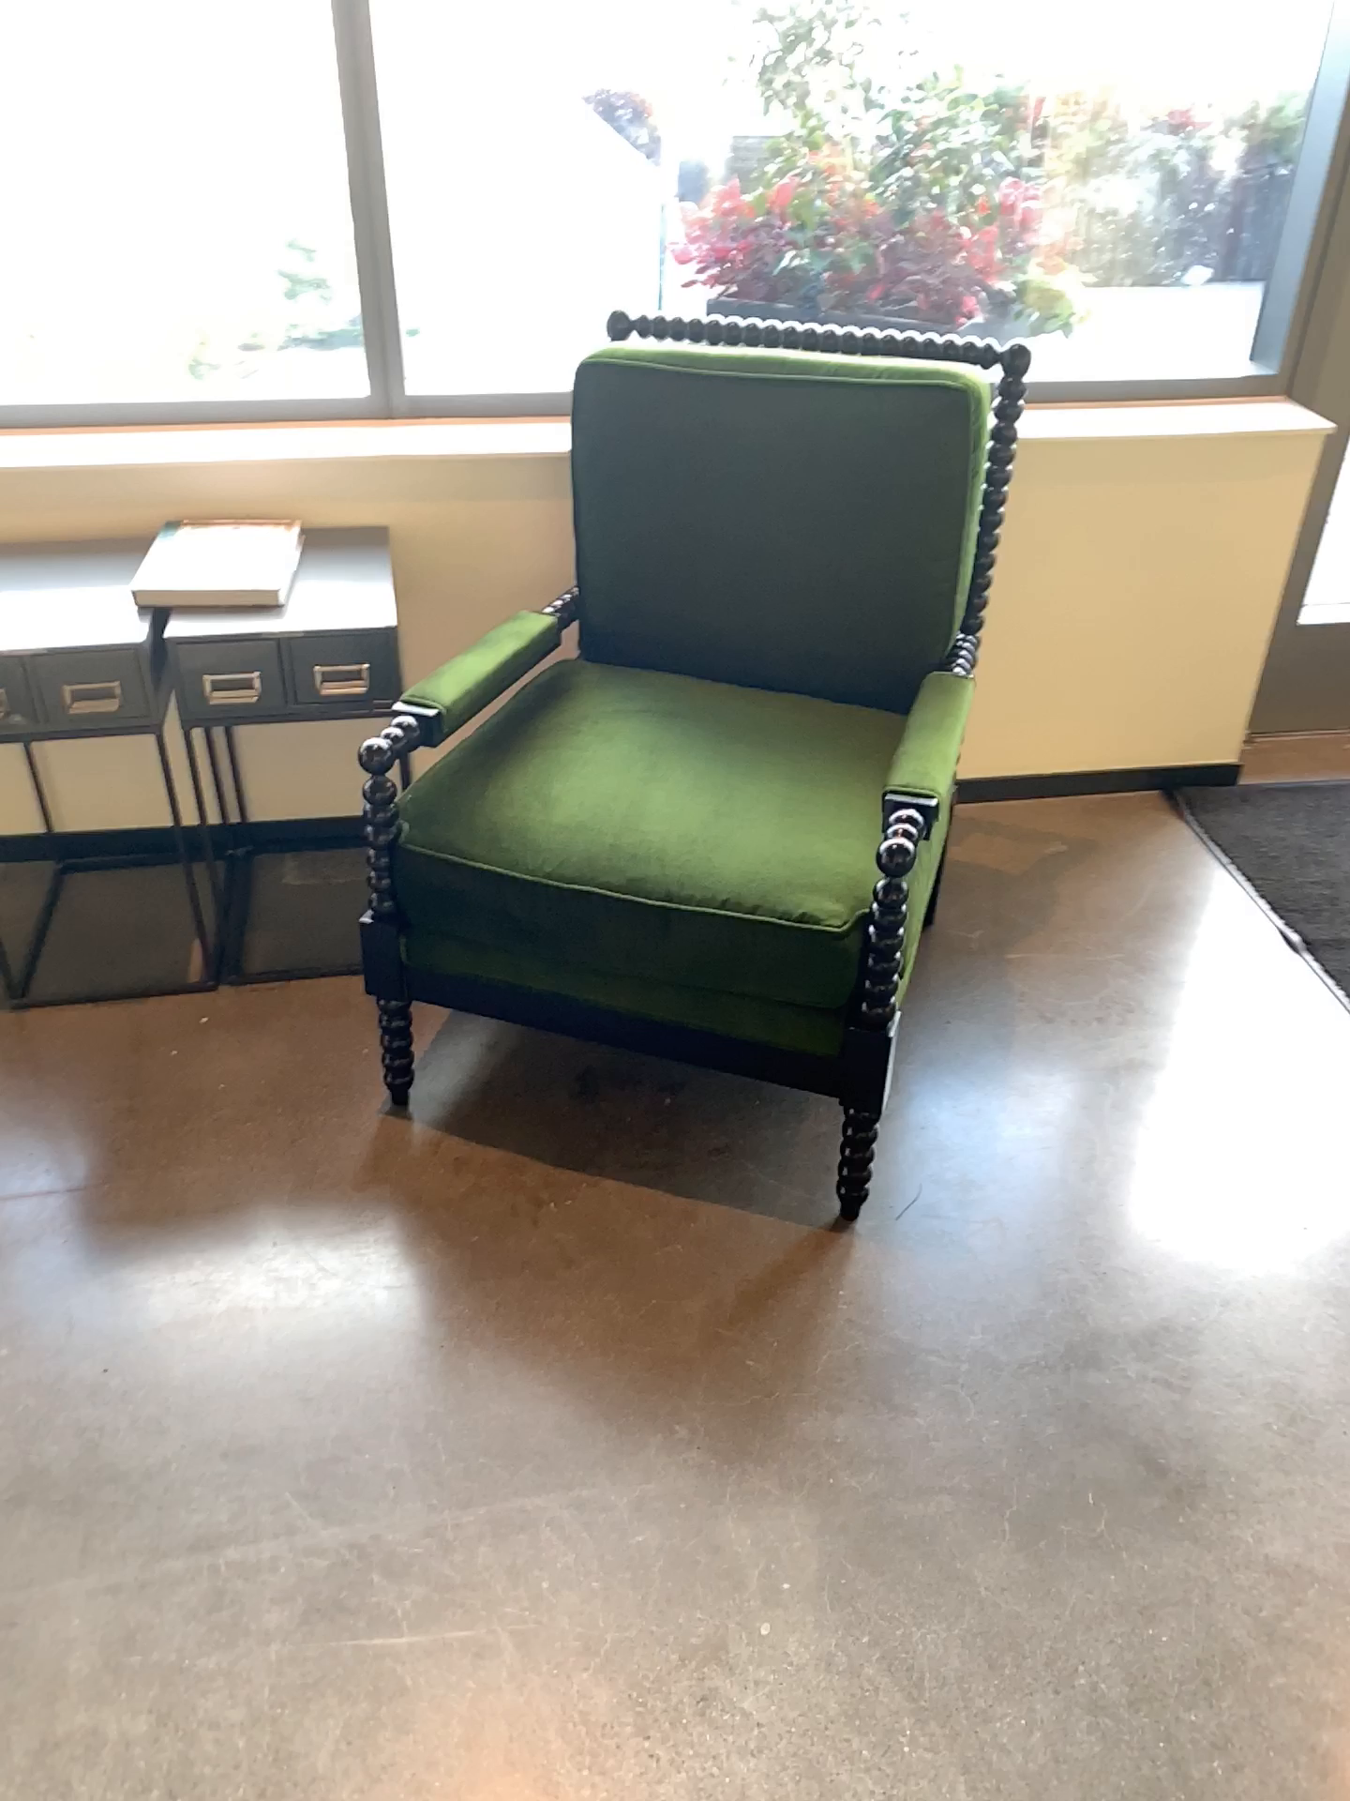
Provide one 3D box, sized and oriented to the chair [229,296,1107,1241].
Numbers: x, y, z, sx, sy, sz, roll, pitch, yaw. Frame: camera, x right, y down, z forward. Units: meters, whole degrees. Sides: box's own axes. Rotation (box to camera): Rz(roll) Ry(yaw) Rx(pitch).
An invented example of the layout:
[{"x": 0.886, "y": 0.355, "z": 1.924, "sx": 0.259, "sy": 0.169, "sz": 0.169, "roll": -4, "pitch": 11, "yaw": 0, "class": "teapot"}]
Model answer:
[{"x": 0.065, "y": -0.273, "z": 2.018, "sx": 0.871, "sy": 0.924, "sz": 0.945, "roll": 12, "pitch": 36, "yaw": 15, "class": "chair"}]
